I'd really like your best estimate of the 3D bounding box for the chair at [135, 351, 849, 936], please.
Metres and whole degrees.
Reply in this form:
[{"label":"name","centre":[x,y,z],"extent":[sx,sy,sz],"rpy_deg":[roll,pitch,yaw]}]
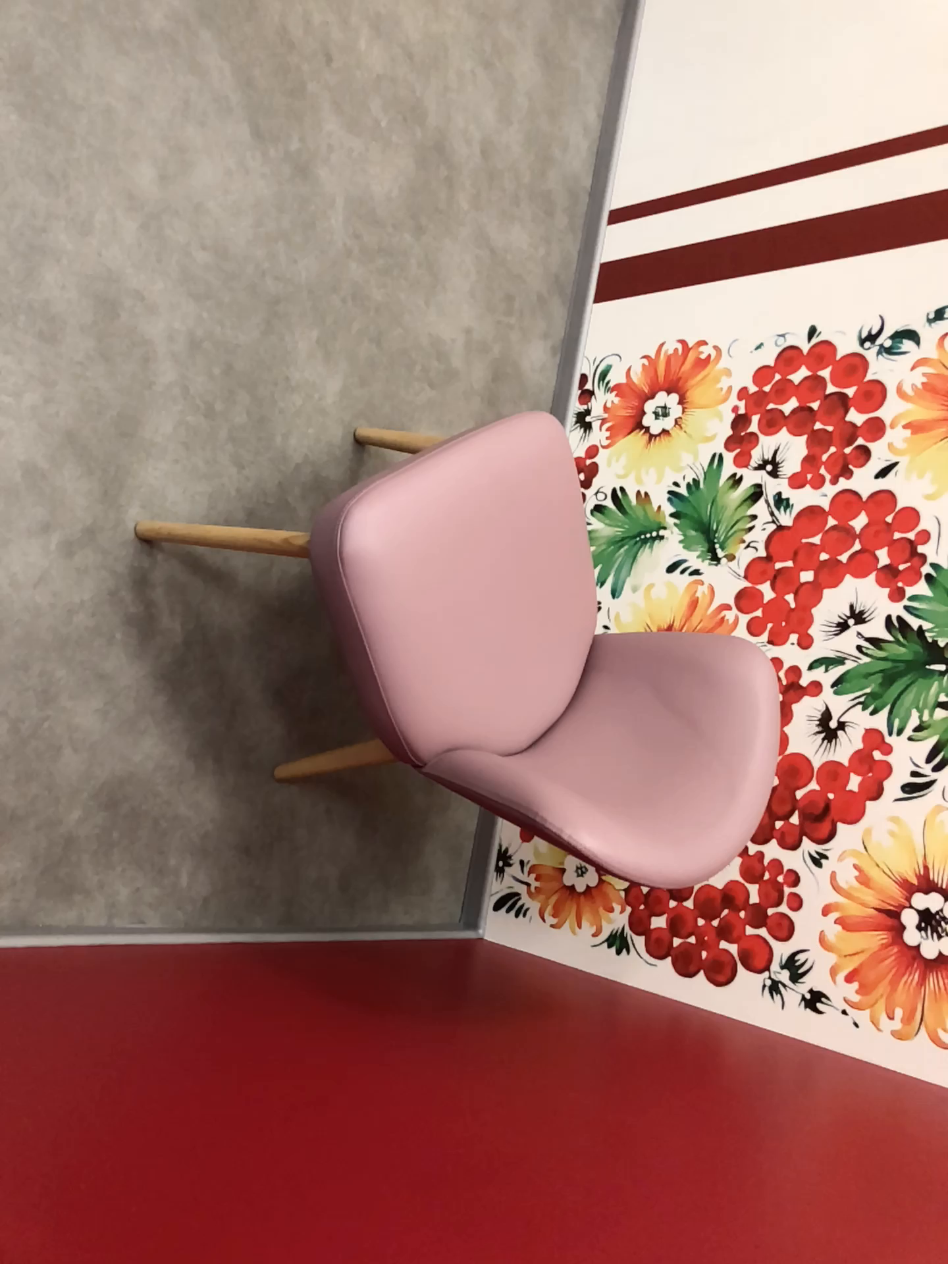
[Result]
[{"label":"chair","centre":[0.029,-0.022,1.516],"extent":[0.513,0.785,0.540],"rpy_deg":[-36,119,-42]}]
